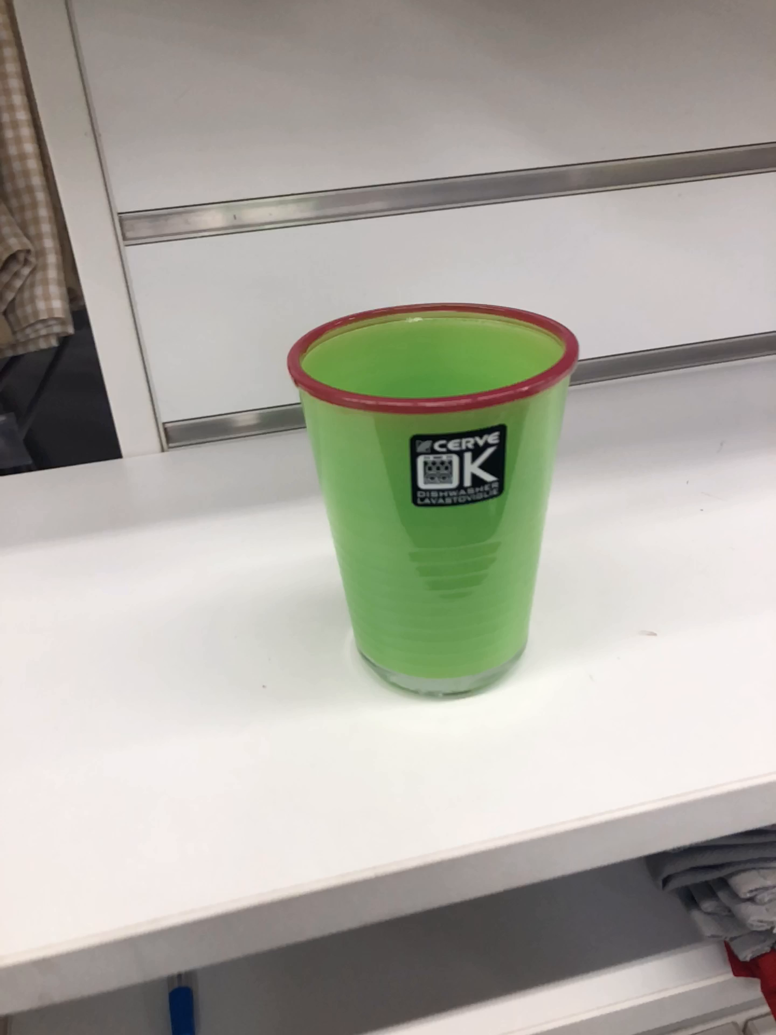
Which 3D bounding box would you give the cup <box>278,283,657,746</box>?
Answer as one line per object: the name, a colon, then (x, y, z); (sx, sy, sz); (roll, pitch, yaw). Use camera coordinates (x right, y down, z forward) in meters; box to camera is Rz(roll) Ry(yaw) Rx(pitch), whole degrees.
cup: (0.018, -0.005, 0.252); (0.086, 0.098, 0.083); (-4, 30, 2)
